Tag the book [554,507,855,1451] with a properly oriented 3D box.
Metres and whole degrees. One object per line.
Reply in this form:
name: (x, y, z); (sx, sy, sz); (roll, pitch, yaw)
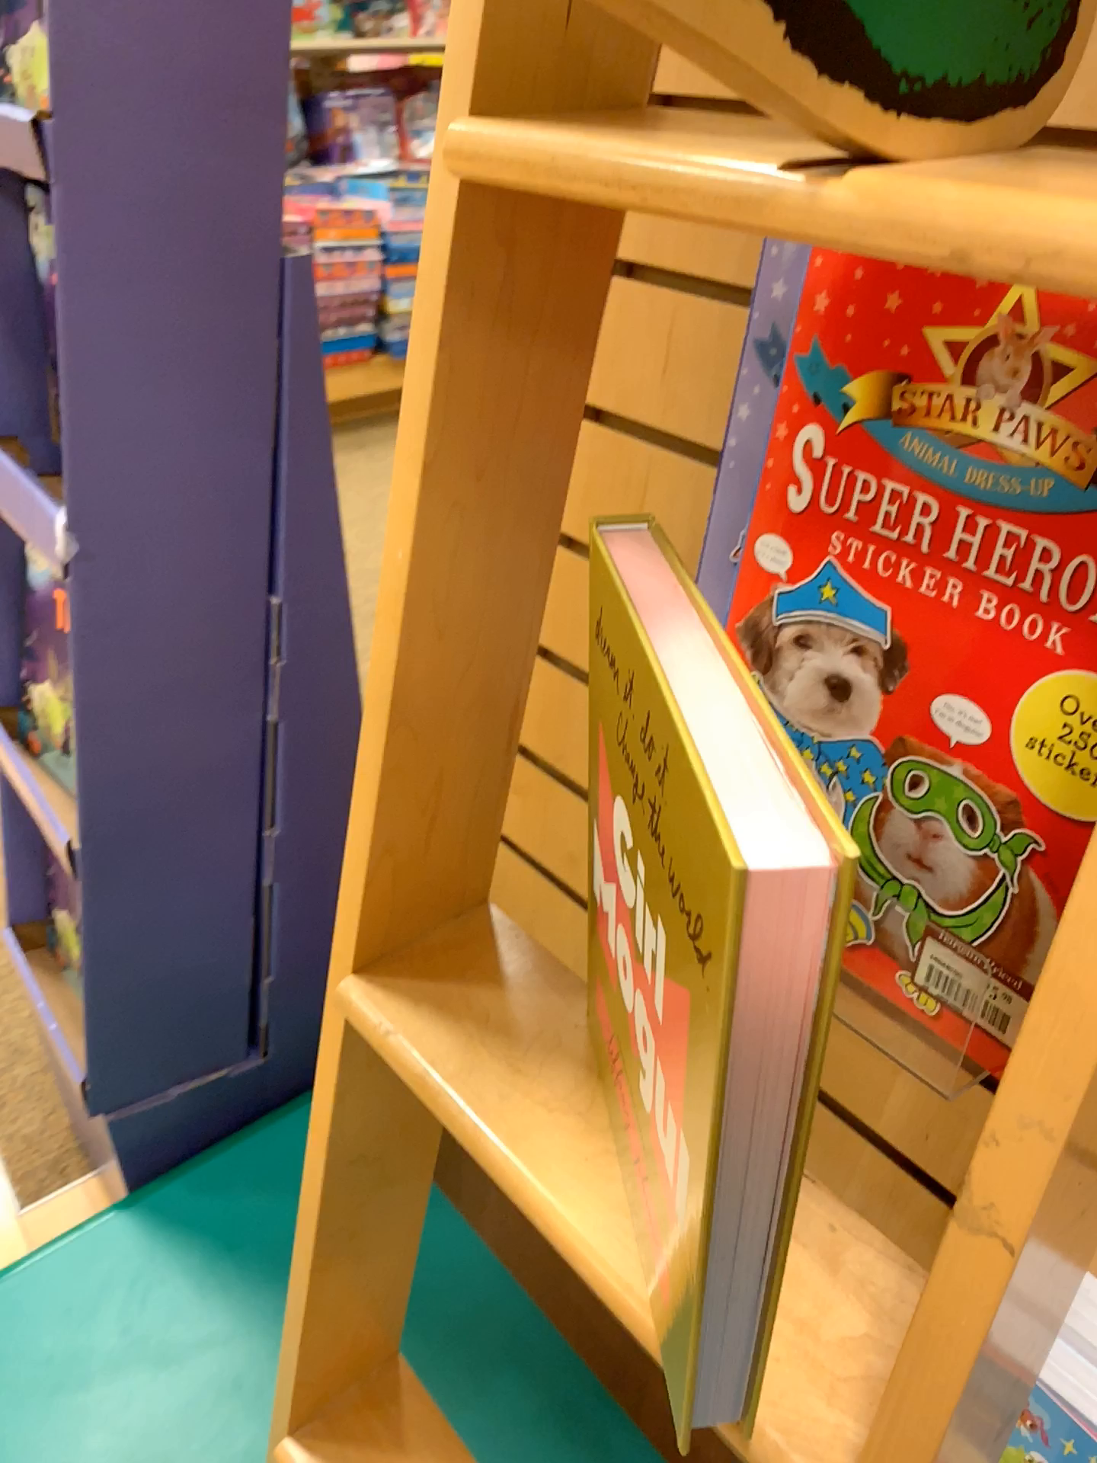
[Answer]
book: (0.031, 0.069, 0.350); (0.030, 0.219, 0.181); (-4, 33, -7)
